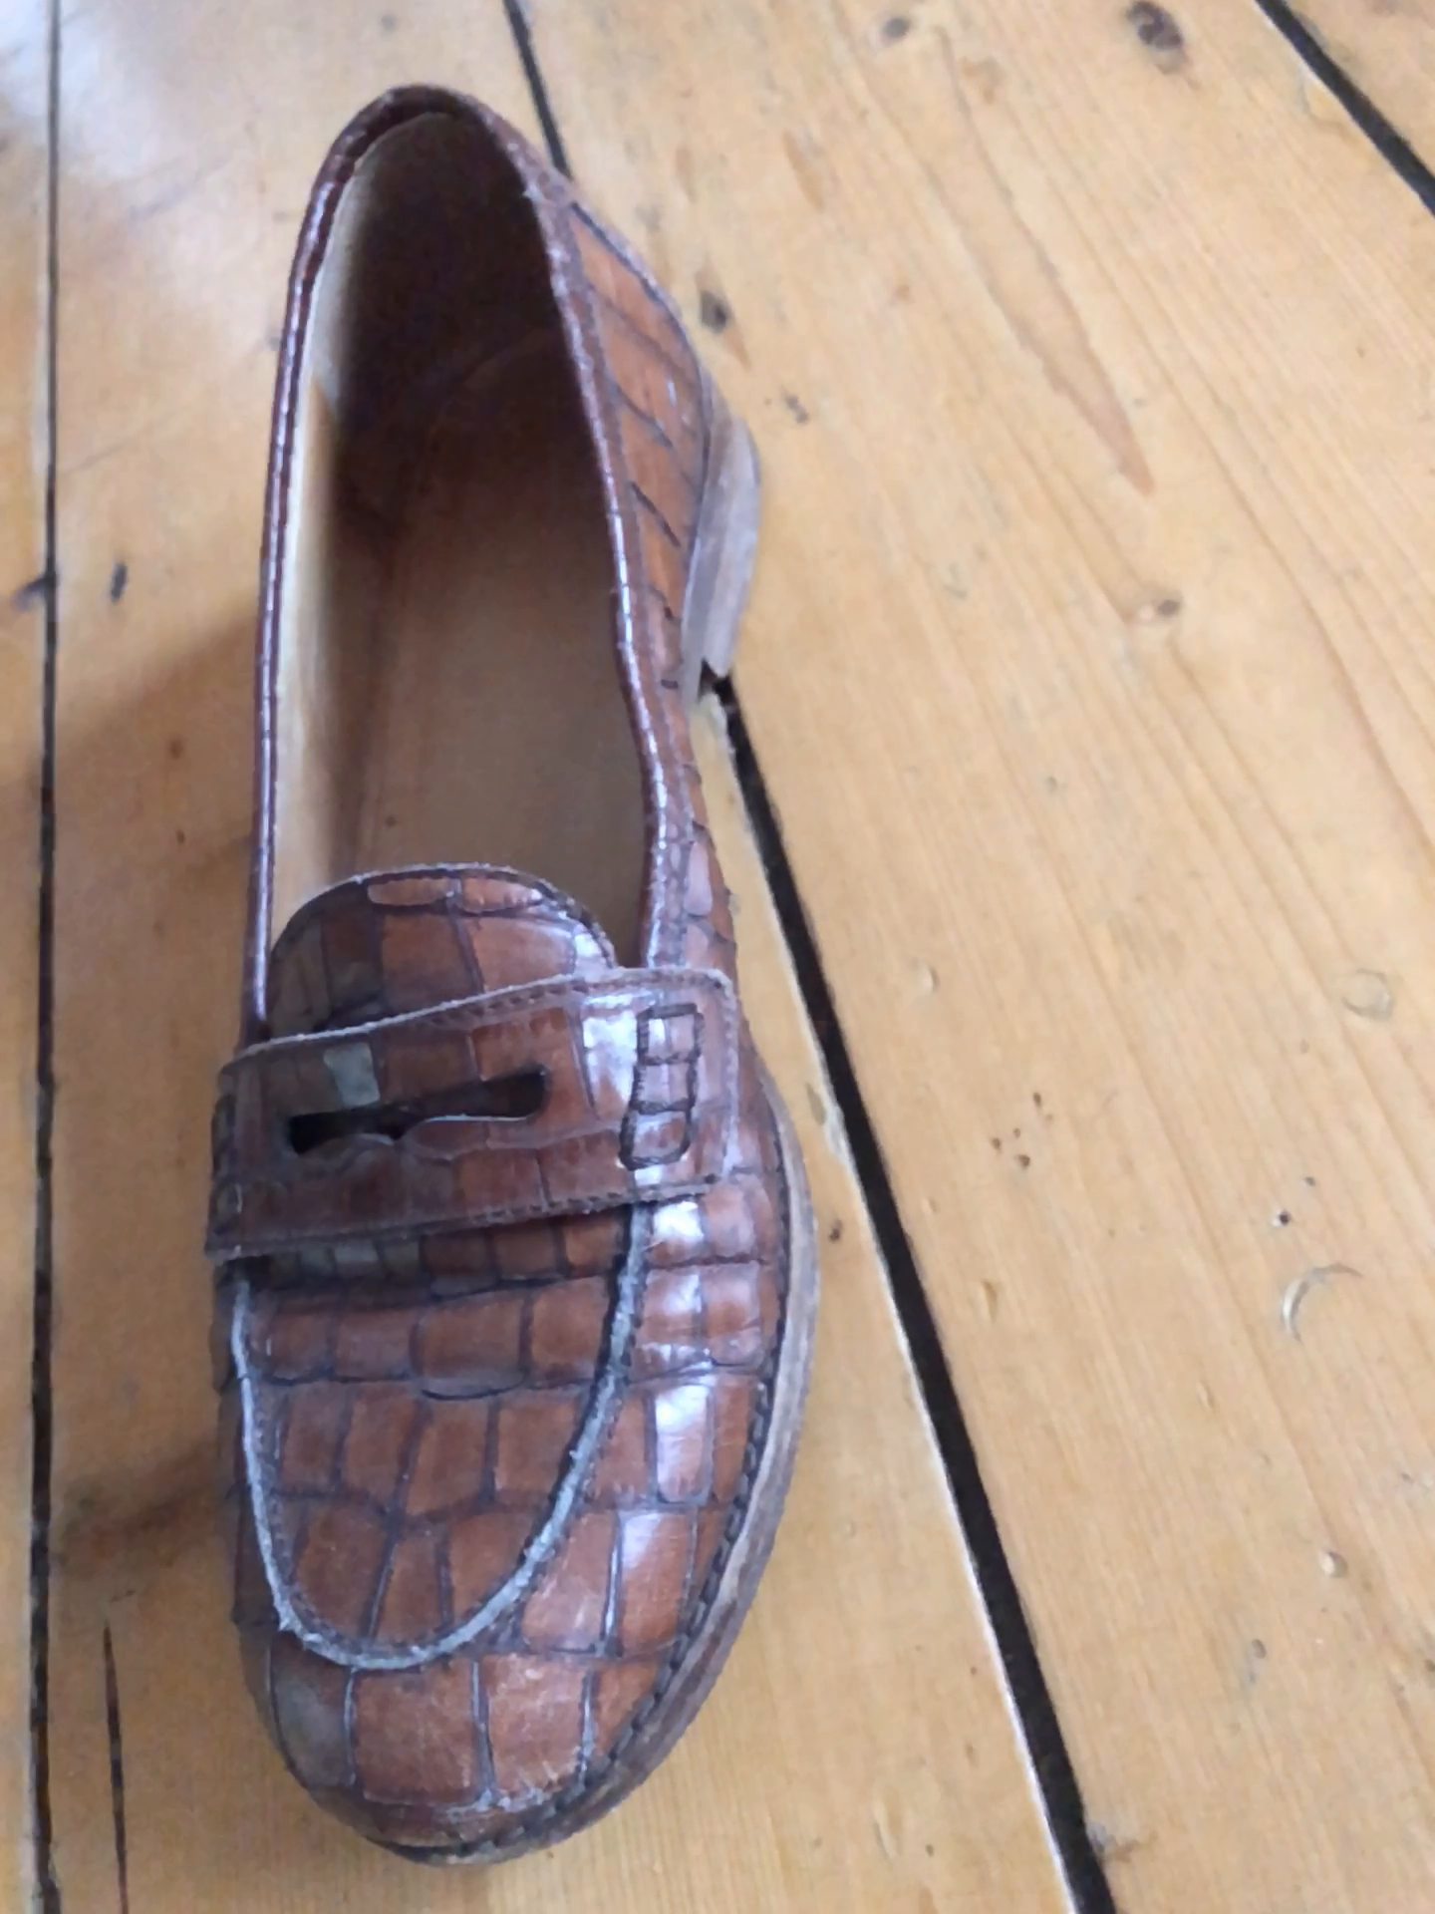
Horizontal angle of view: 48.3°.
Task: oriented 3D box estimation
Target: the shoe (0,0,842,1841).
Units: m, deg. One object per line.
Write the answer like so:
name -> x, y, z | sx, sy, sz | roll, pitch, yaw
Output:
shoe -> -0.038, -0.038, 0.266 | 0.080, 0.100, 0.321 | -11, 60, 20
